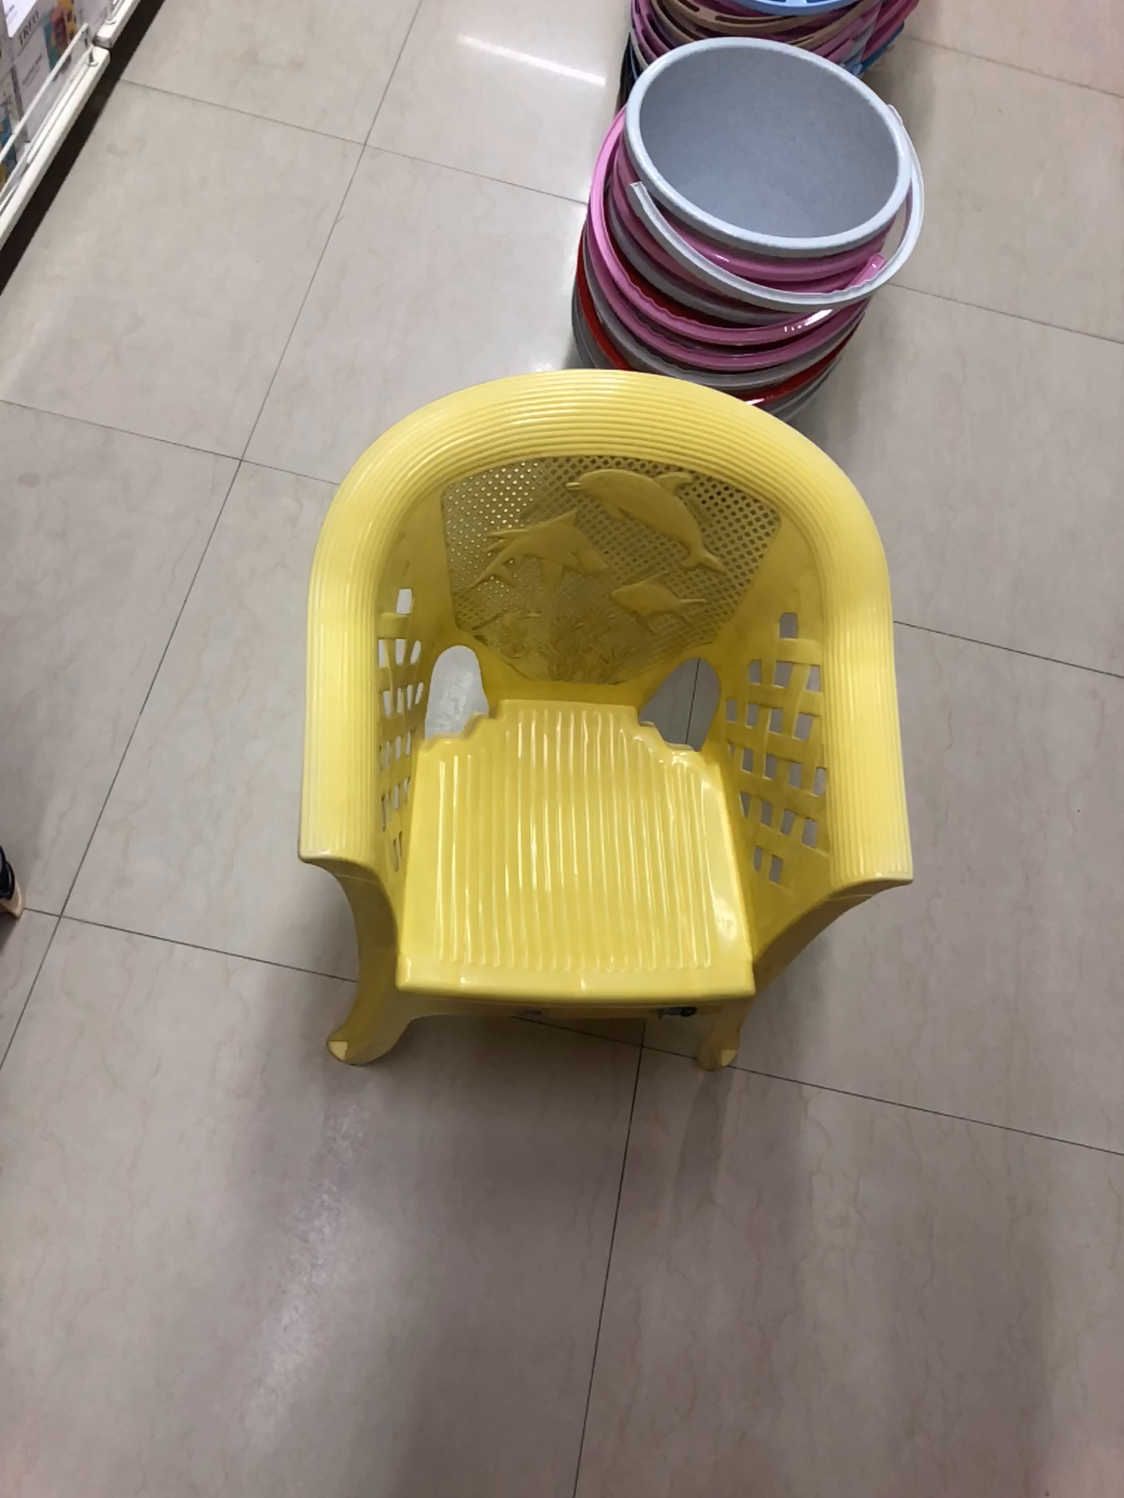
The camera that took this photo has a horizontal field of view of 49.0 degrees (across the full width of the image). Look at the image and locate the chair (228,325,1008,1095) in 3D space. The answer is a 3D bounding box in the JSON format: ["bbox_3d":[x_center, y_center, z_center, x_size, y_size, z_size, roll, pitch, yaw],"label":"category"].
[{"bbox_3d":[0.012,0.001,1.012,0.470,0.399,0.472,4,63,-8],"label":"chair"}]
